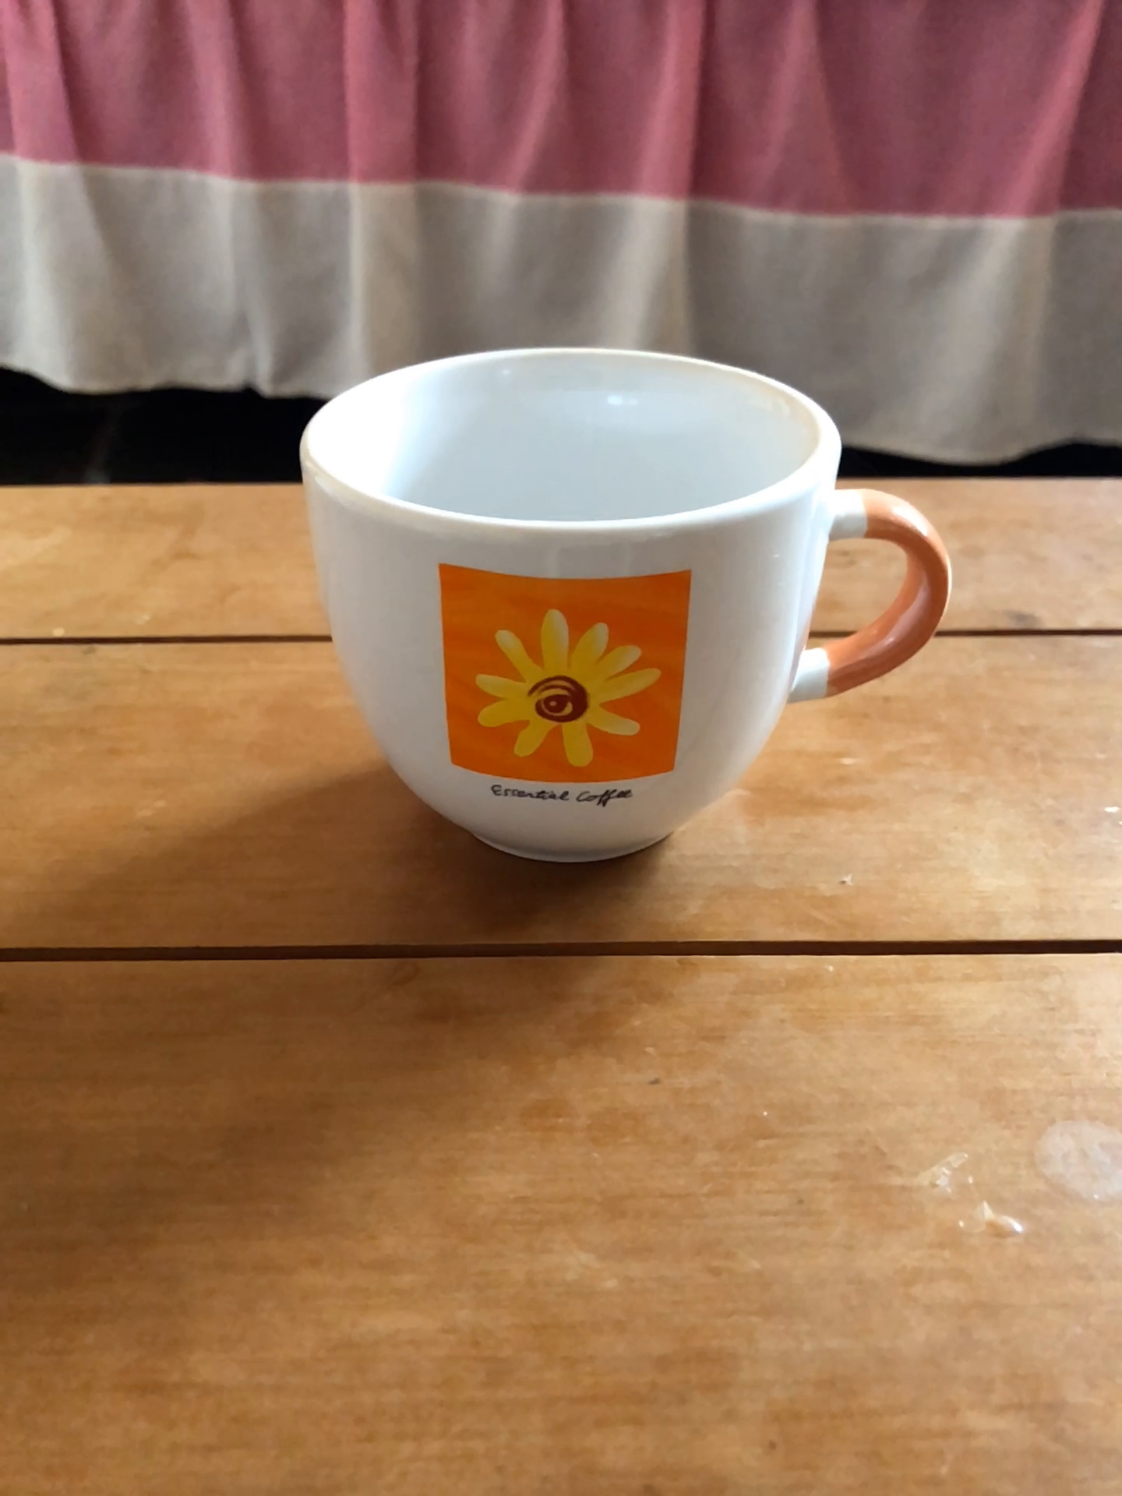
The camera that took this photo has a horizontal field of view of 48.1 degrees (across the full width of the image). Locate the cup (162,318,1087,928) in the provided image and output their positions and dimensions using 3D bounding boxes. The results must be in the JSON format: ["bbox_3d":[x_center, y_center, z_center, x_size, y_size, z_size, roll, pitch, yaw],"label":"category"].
[{"bbox_3d":[0.006,-0.026,0.203,0.110,0.060,0.091,-2,33,-3],"label":"cup"}]
